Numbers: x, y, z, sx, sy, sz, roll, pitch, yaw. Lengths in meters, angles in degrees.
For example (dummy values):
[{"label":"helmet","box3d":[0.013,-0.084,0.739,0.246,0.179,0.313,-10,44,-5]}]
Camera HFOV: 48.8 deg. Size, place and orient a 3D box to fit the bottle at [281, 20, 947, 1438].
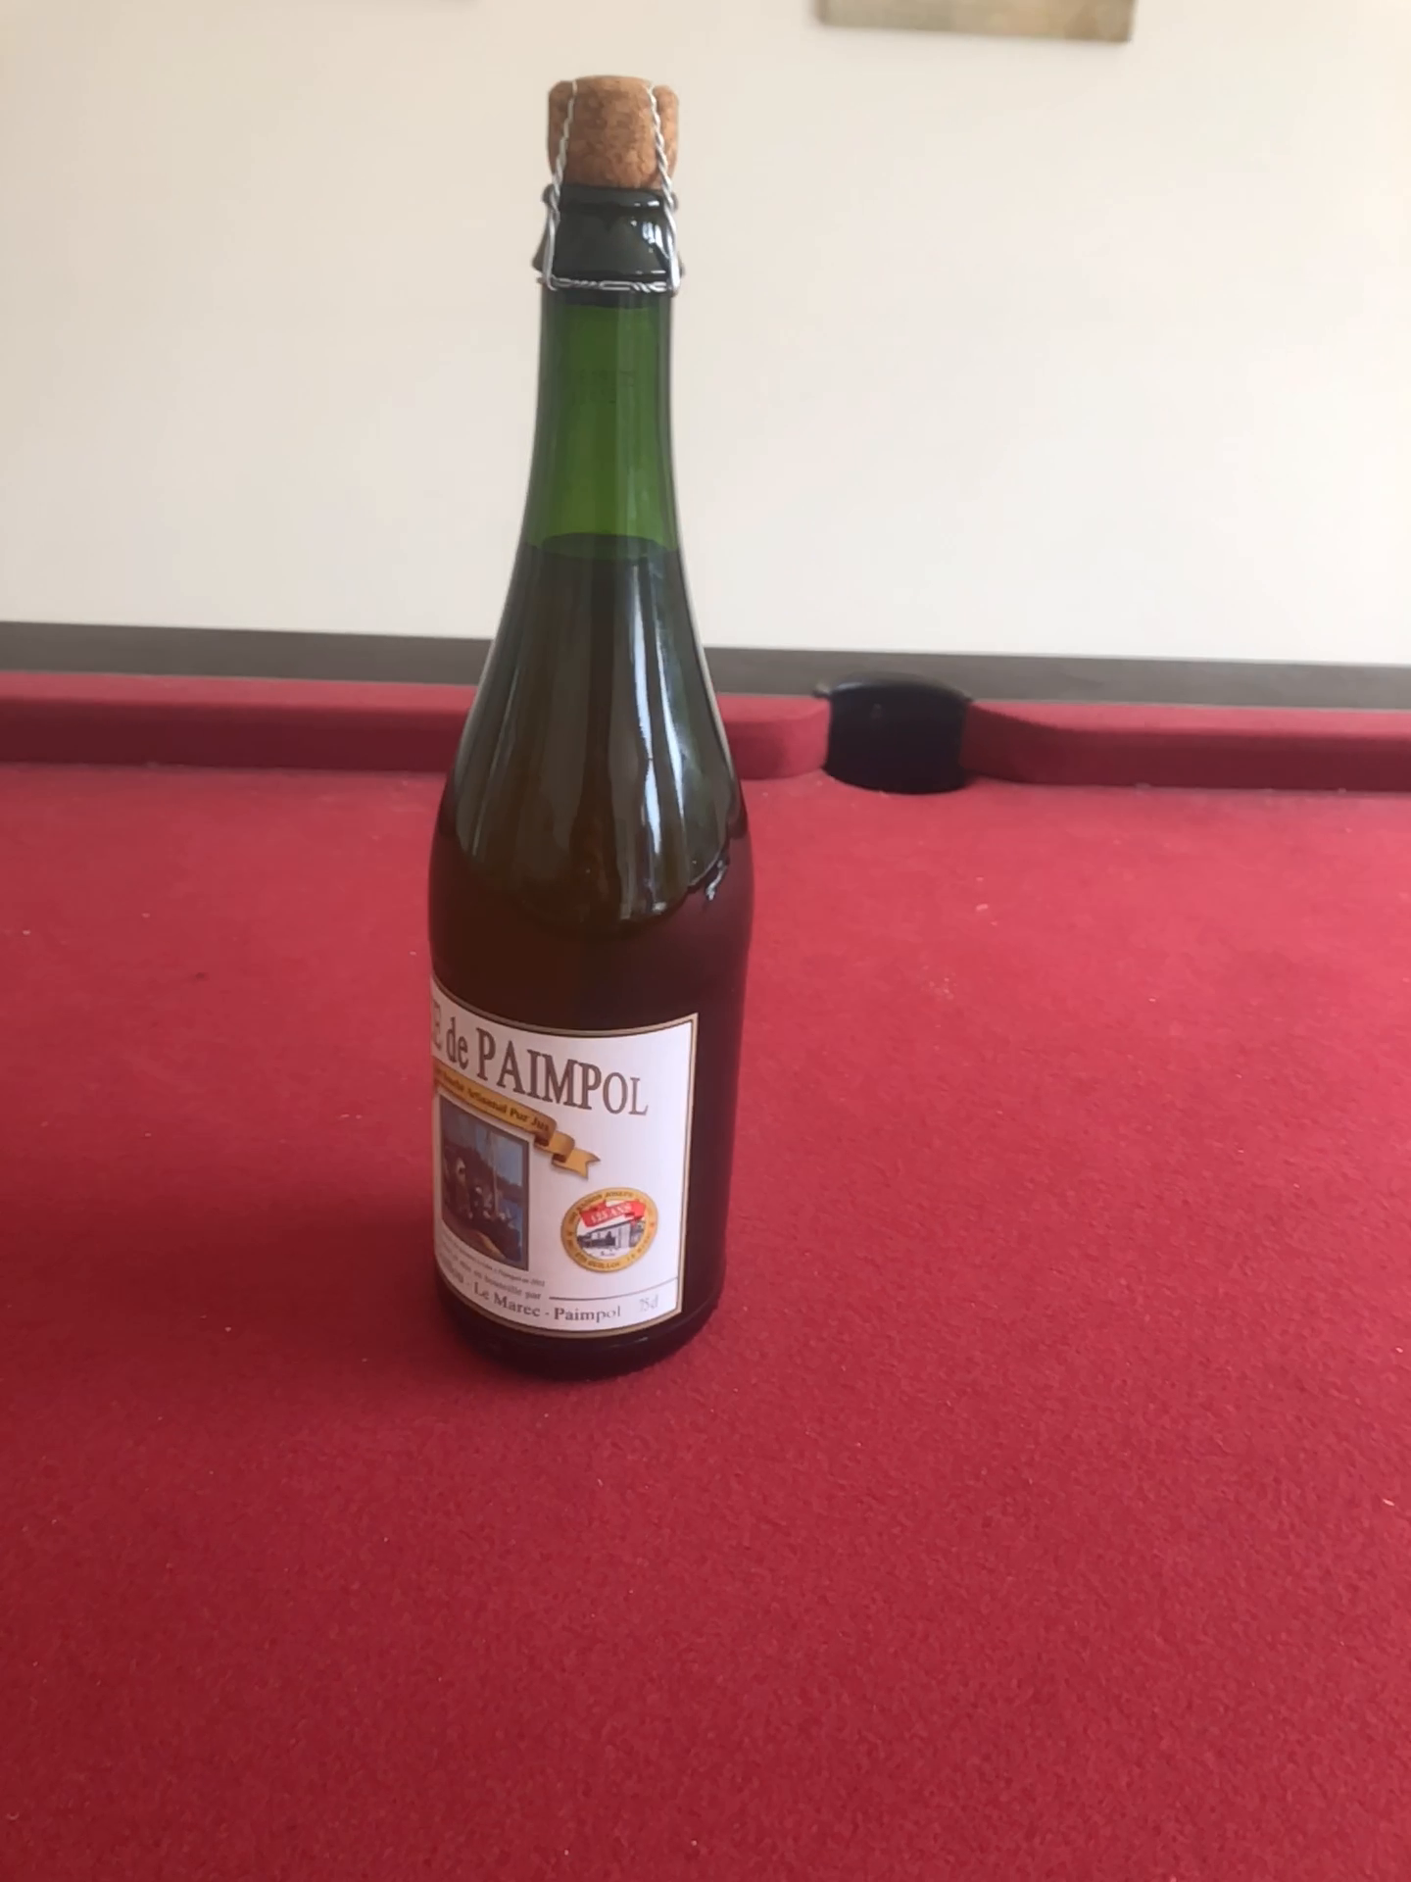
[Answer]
[{"label":"bottle","box3d":[-0.024,-0.043,0.375,0.090,0.298,0.101,20,30,30]}]
